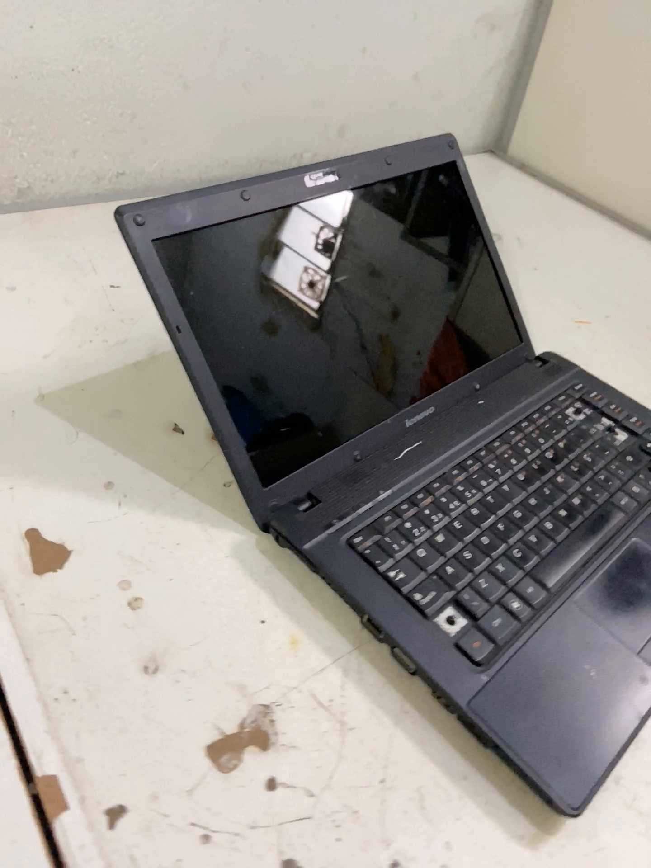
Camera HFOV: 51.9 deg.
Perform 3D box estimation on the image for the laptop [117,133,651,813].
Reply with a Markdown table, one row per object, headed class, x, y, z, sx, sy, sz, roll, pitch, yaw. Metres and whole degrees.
| class | x | y | z | sx | sy | sz | roll | pitch | yaw |
| --- | --- | --- | --- | --- | --- | --- | --- | --- | --- |
| laptop | 0.125 | -0.051 | 0.493 | 0.359 | 0.147 | 0.423 | -28 | 54 | -35 |
